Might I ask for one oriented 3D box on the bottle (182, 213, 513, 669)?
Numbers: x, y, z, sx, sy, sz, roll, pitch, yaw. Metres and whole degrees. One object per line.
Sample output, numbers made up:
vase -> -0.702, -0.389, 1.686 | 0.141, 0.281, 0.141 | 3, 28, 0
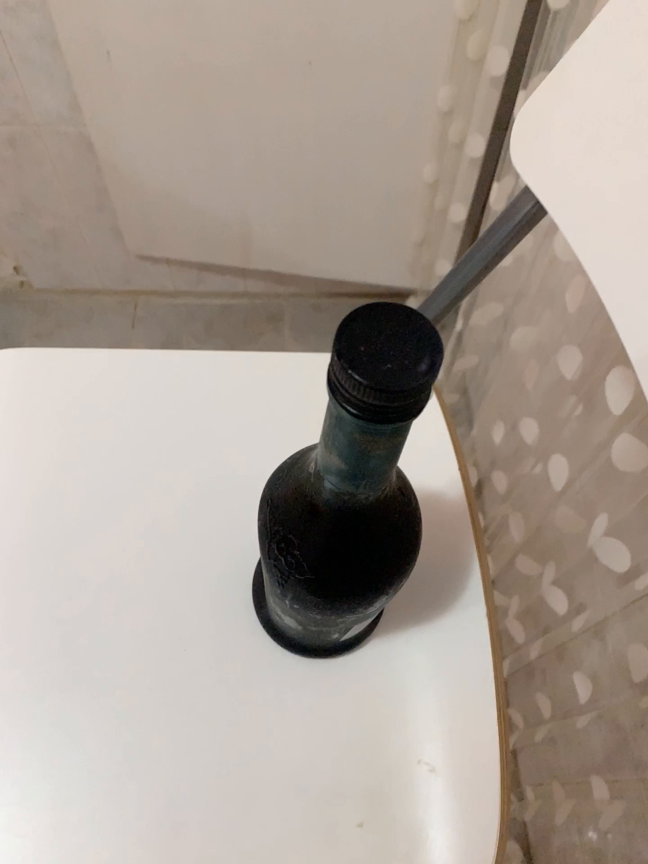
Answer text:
bottle -> 0.005, 0.033, 0.289 | 0.080, 0.243, 0.090 | 4, 61, 0
